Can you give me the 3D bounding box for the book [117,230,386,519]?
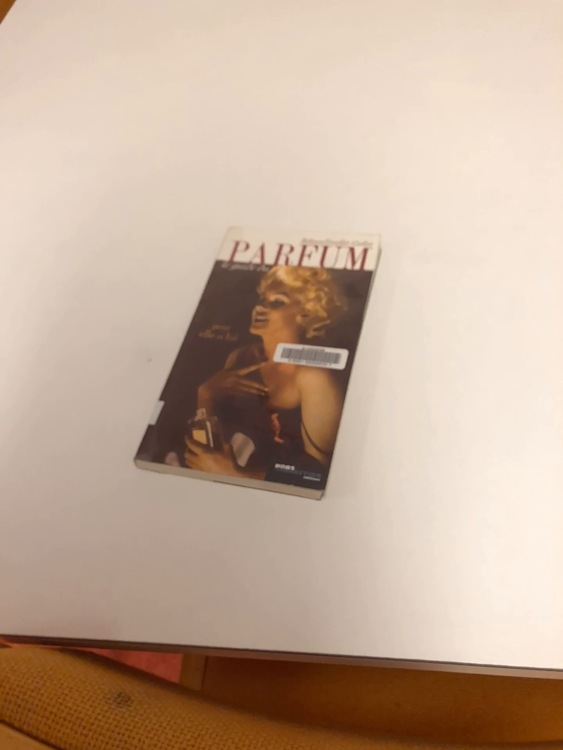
[{"bbox_3d":[-0.011,-0.015,0.429,0.133,0.020,0.211,6,57,15],"label":"book"}]
